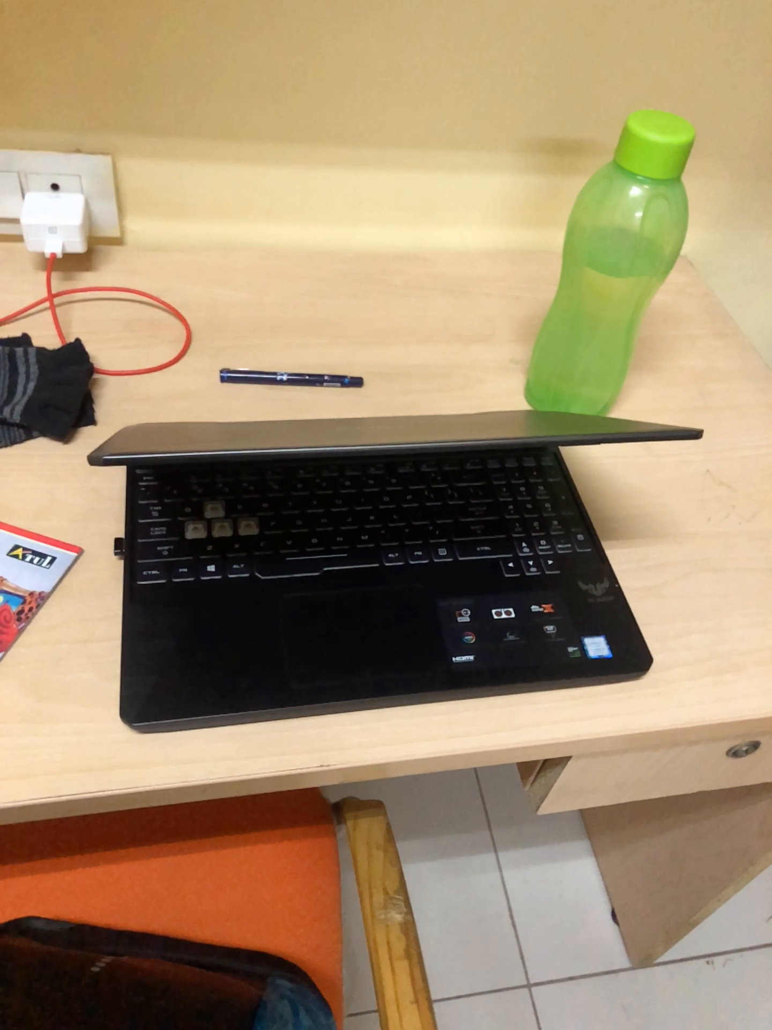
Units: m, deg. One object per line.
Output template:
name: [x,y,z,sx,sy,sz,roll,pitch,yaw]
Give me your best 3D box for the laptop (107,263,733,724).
laptop: [-0.001,-0.029,0.576,0.339,0.147,0.249,-4,51,-11]
